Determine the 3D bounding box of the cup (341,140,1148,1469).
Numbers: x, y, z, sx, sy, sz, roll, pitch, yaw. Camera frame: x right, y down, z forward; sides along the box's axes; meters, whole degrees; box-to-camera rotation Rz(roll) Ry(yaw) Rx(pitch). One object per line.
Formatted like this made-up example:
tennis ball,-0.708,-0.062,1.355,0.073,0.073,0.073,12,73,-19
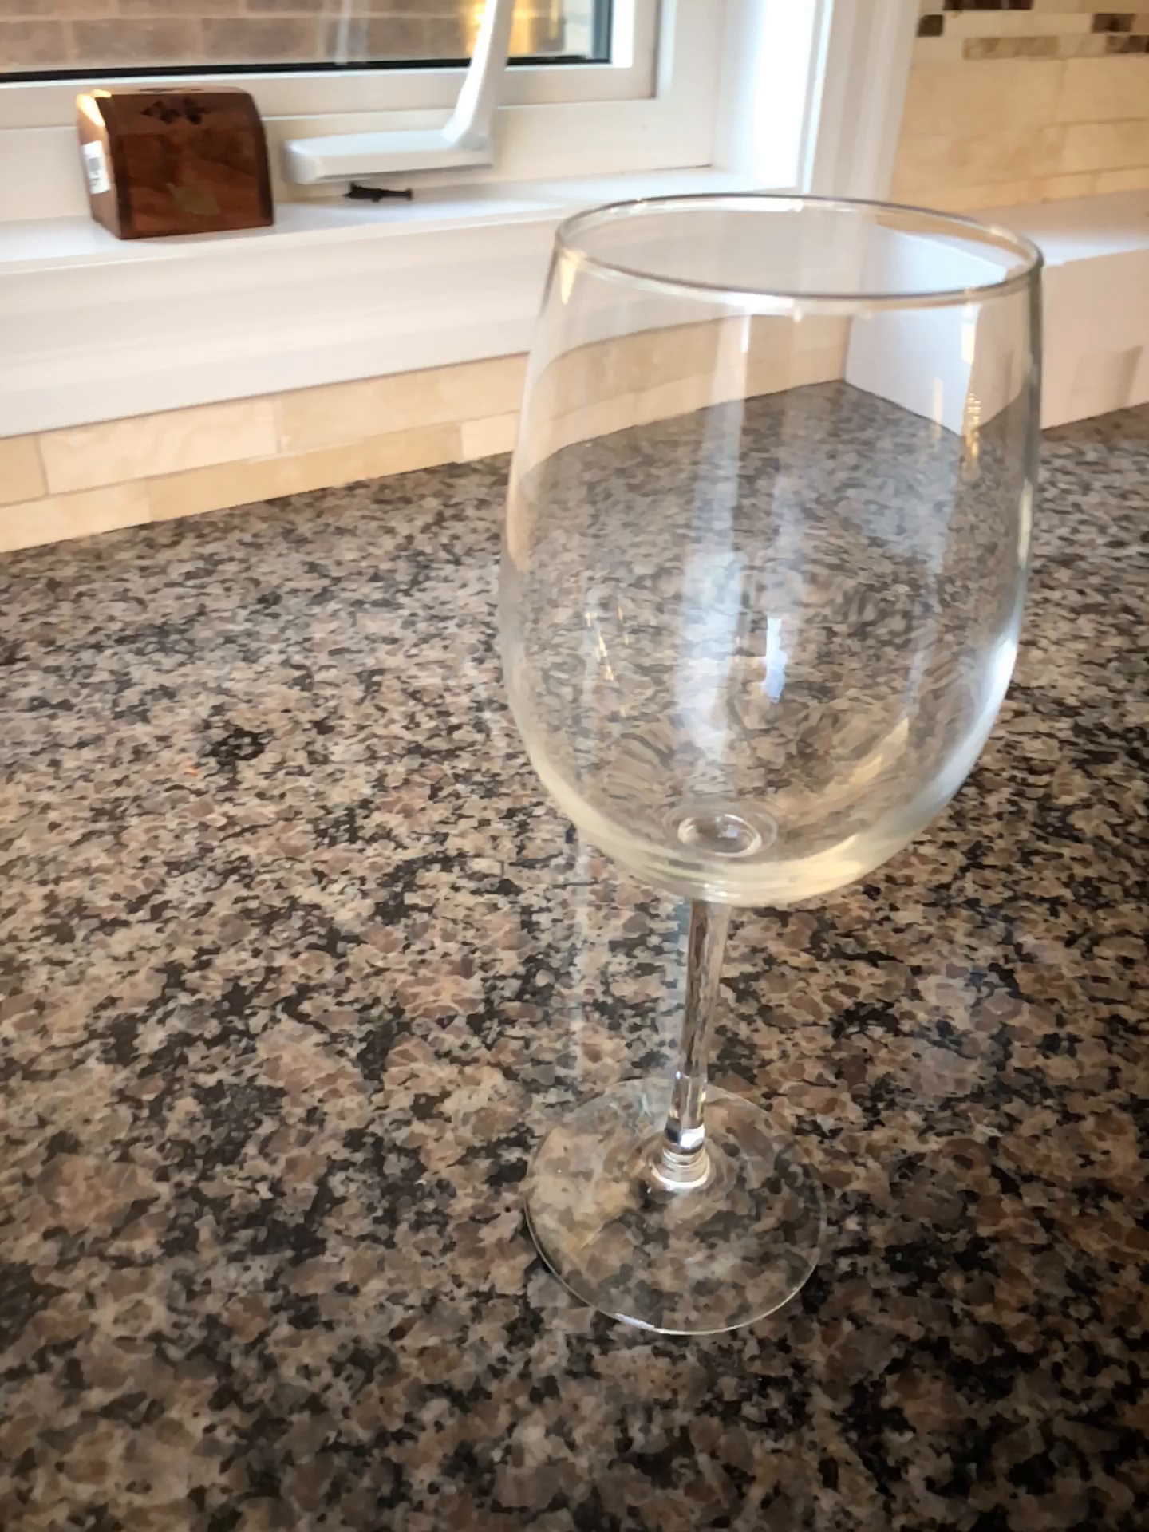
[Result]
cup,0.027,0.009,0.244,0.095,0.217,0.097,1,33,-1
